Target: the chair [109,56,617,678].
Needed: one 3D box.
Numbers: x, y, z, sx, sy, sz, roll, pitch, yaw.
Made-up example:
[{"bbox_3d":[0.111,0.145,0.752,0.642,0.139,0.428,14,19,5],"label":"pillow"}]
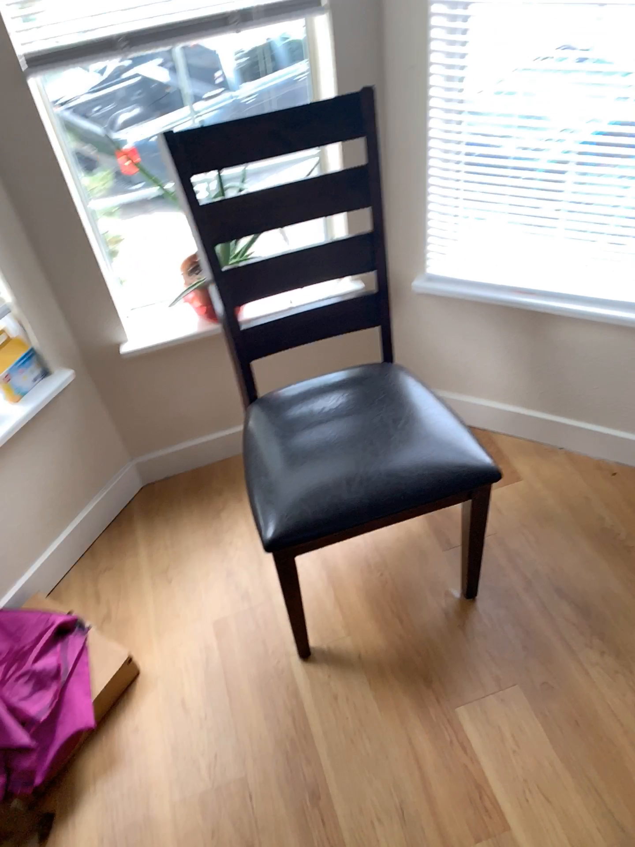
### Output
[{"bbox_3d":[0.053,-0.060,1.240,0.560,0.946,0.542,-17,45,-9],"label":"chair"}]
